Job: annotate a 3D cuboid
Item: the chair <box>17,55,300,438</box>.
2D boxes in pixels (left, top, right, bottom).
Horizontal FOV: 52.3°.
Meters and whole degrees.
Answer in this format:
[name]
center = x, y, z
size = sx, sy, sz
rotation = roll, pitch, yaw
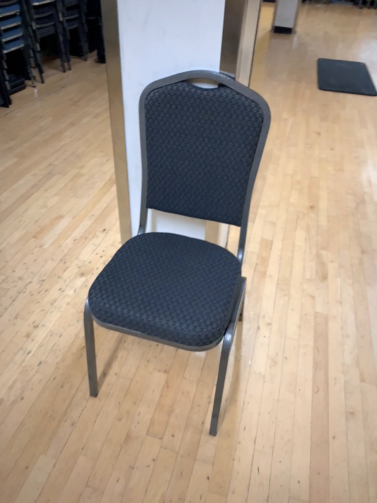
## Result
[chair]
center = -0.026, -0.001, 1.148
size = 0.464, 0.908, 0.567
rotation = 13, 40, 11
